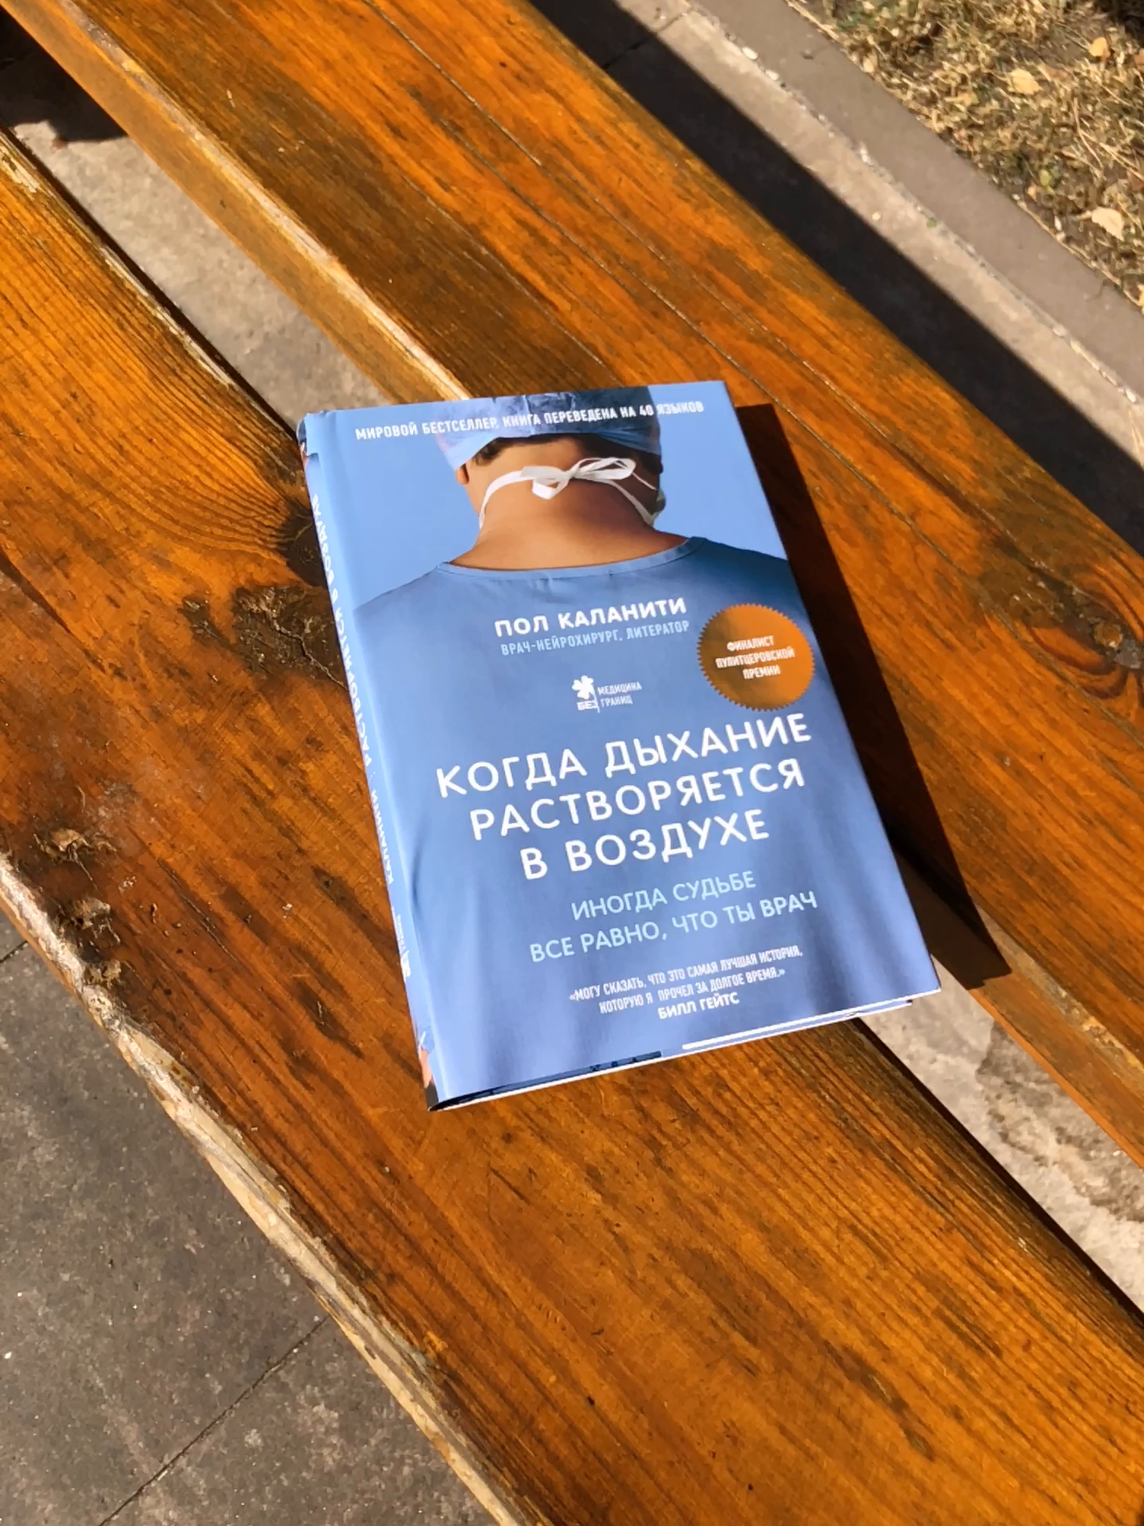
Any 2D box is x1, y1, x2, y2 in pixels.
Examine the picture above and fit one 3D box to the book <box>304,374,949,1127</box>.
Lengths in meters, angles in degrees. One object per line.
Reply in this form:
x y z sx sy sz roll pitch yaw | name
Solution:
0.008 -0.016 0.370 0.140 0.025 0.210 -8 68 -14 | book
